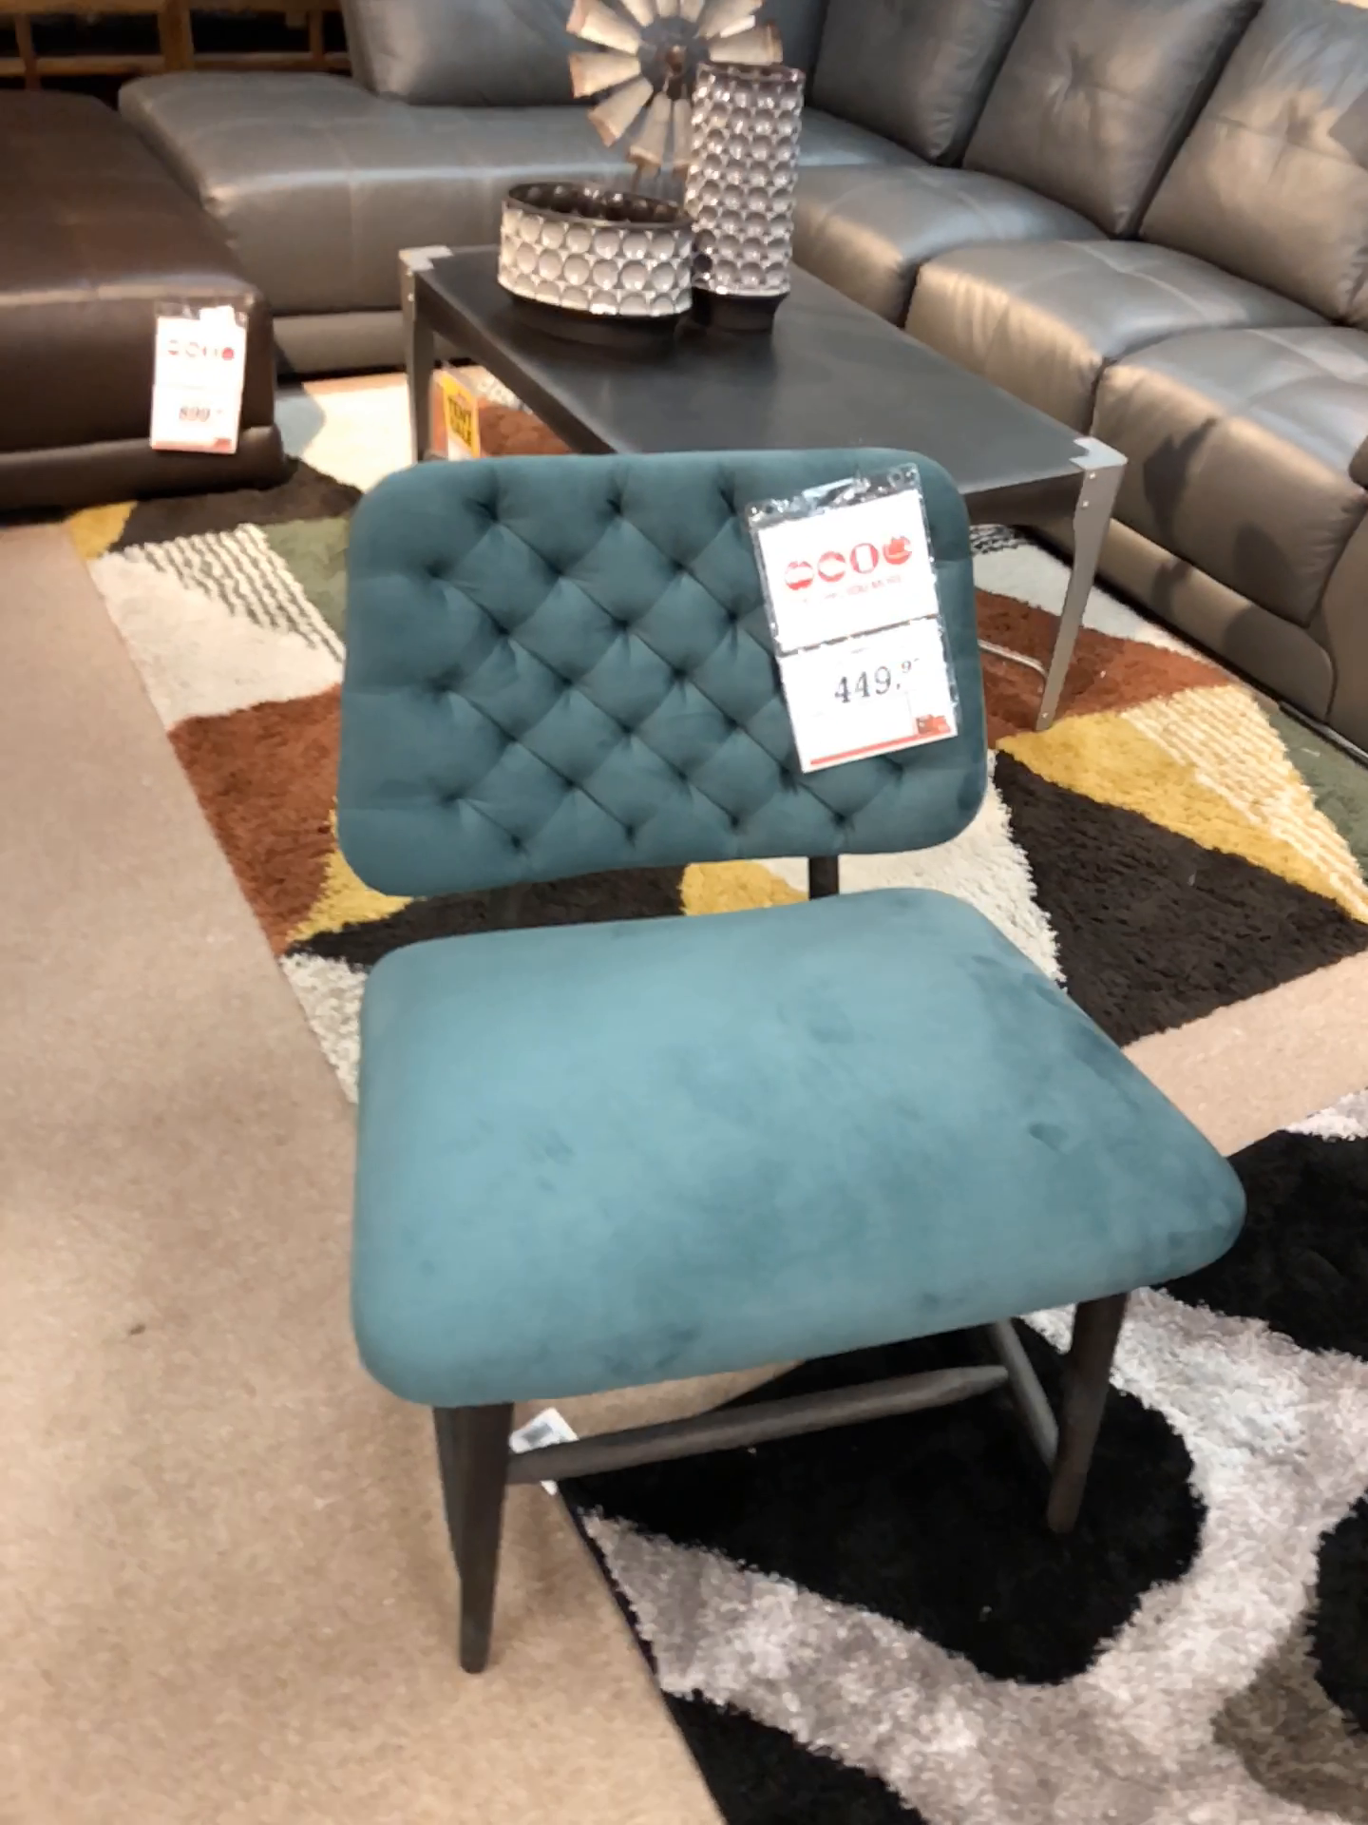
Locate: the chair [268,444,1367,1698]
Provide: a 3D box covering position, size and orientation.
[{"bbox_3d":[0.043,0.108,1.175,0.639,0.765,0.534,-6,41,-16],"label":"chair"}]
